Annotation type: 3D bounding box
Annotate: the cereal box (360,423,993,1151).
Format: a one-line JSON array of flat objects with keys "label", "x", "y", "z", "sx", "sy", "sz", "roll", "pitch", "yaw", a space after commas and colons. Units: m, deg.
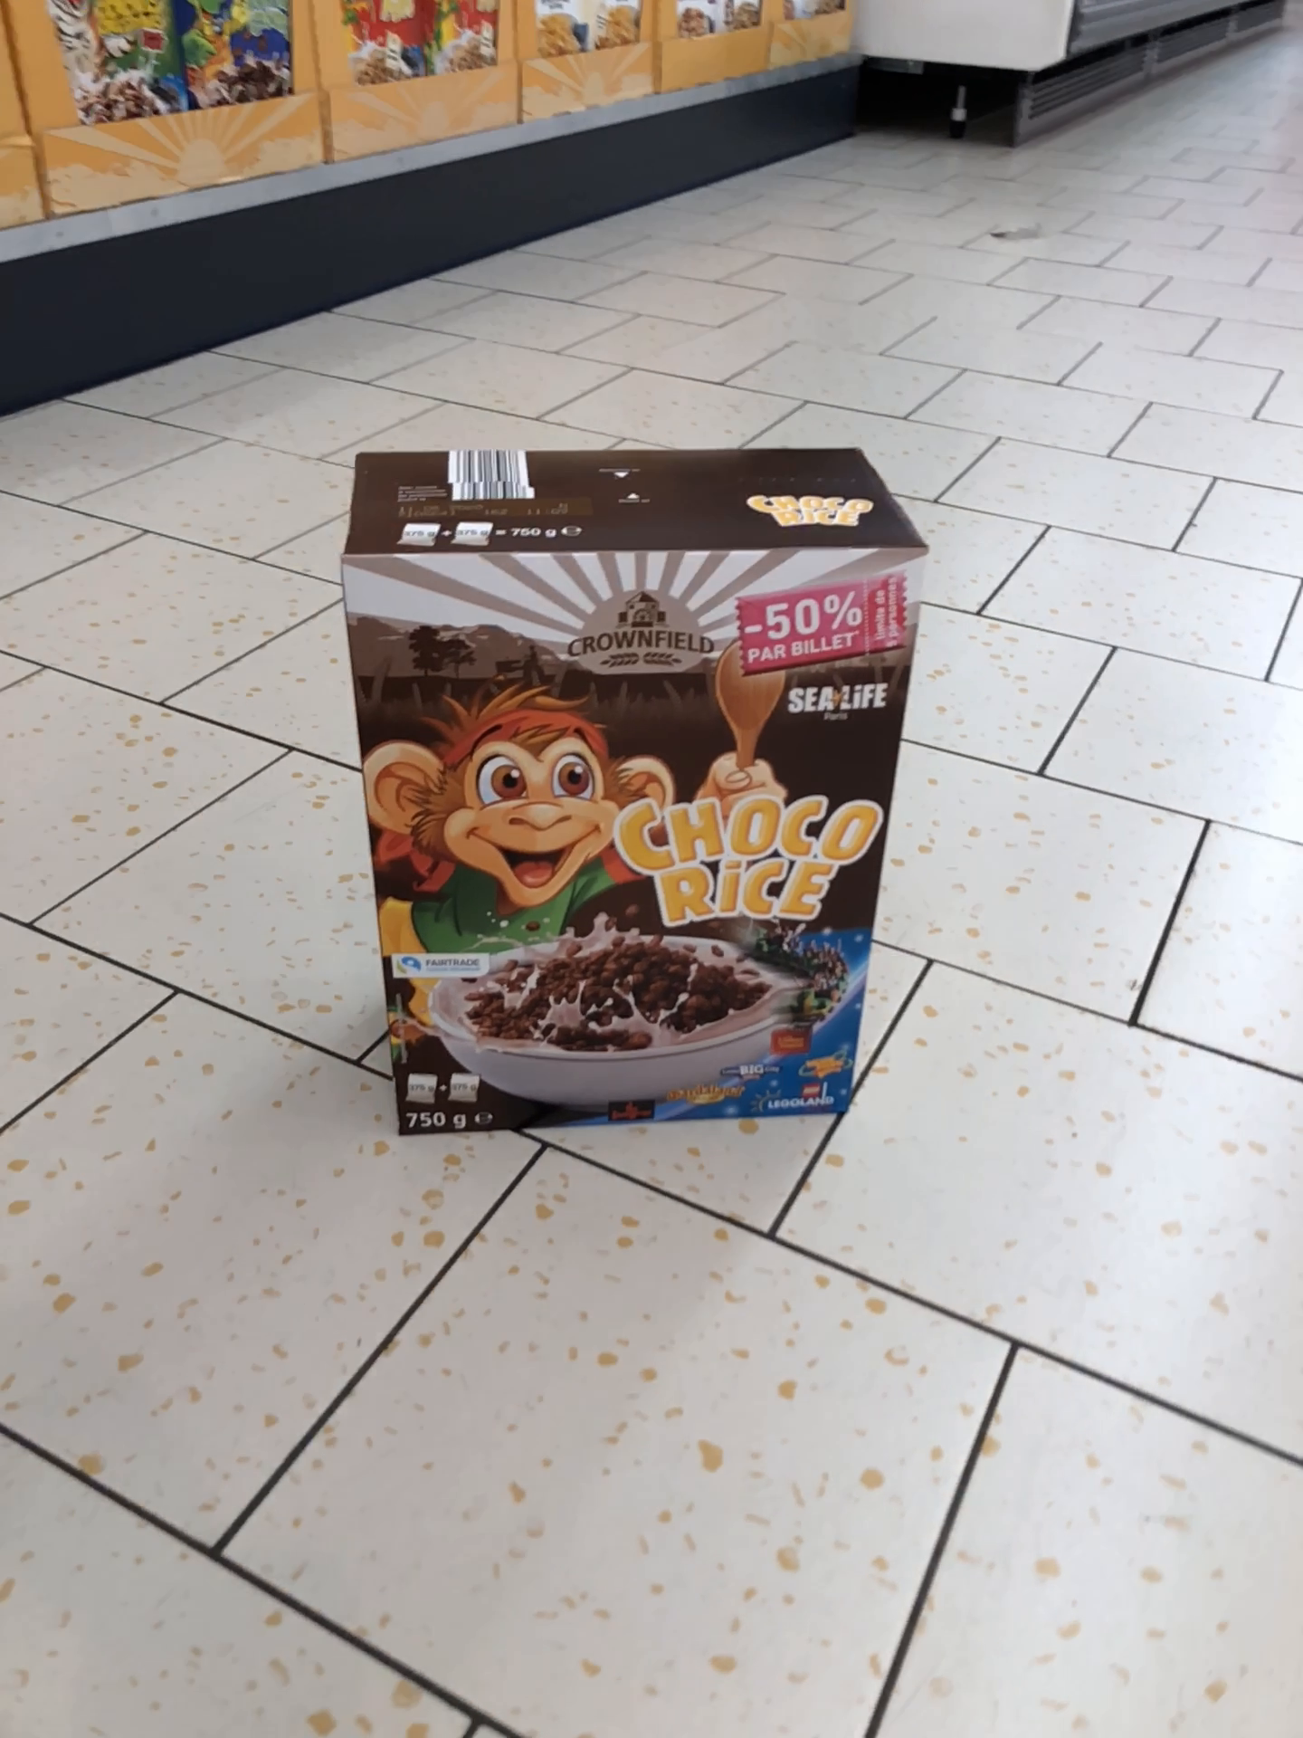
[{"label": "cereal box", "x": 0.001, "y": -0.026, "z": 0.564, "sx": 0.200, "sy": 0.268, "sz": 0.101, "roll": -1, "pitch": 34, "yaw": -5}]
